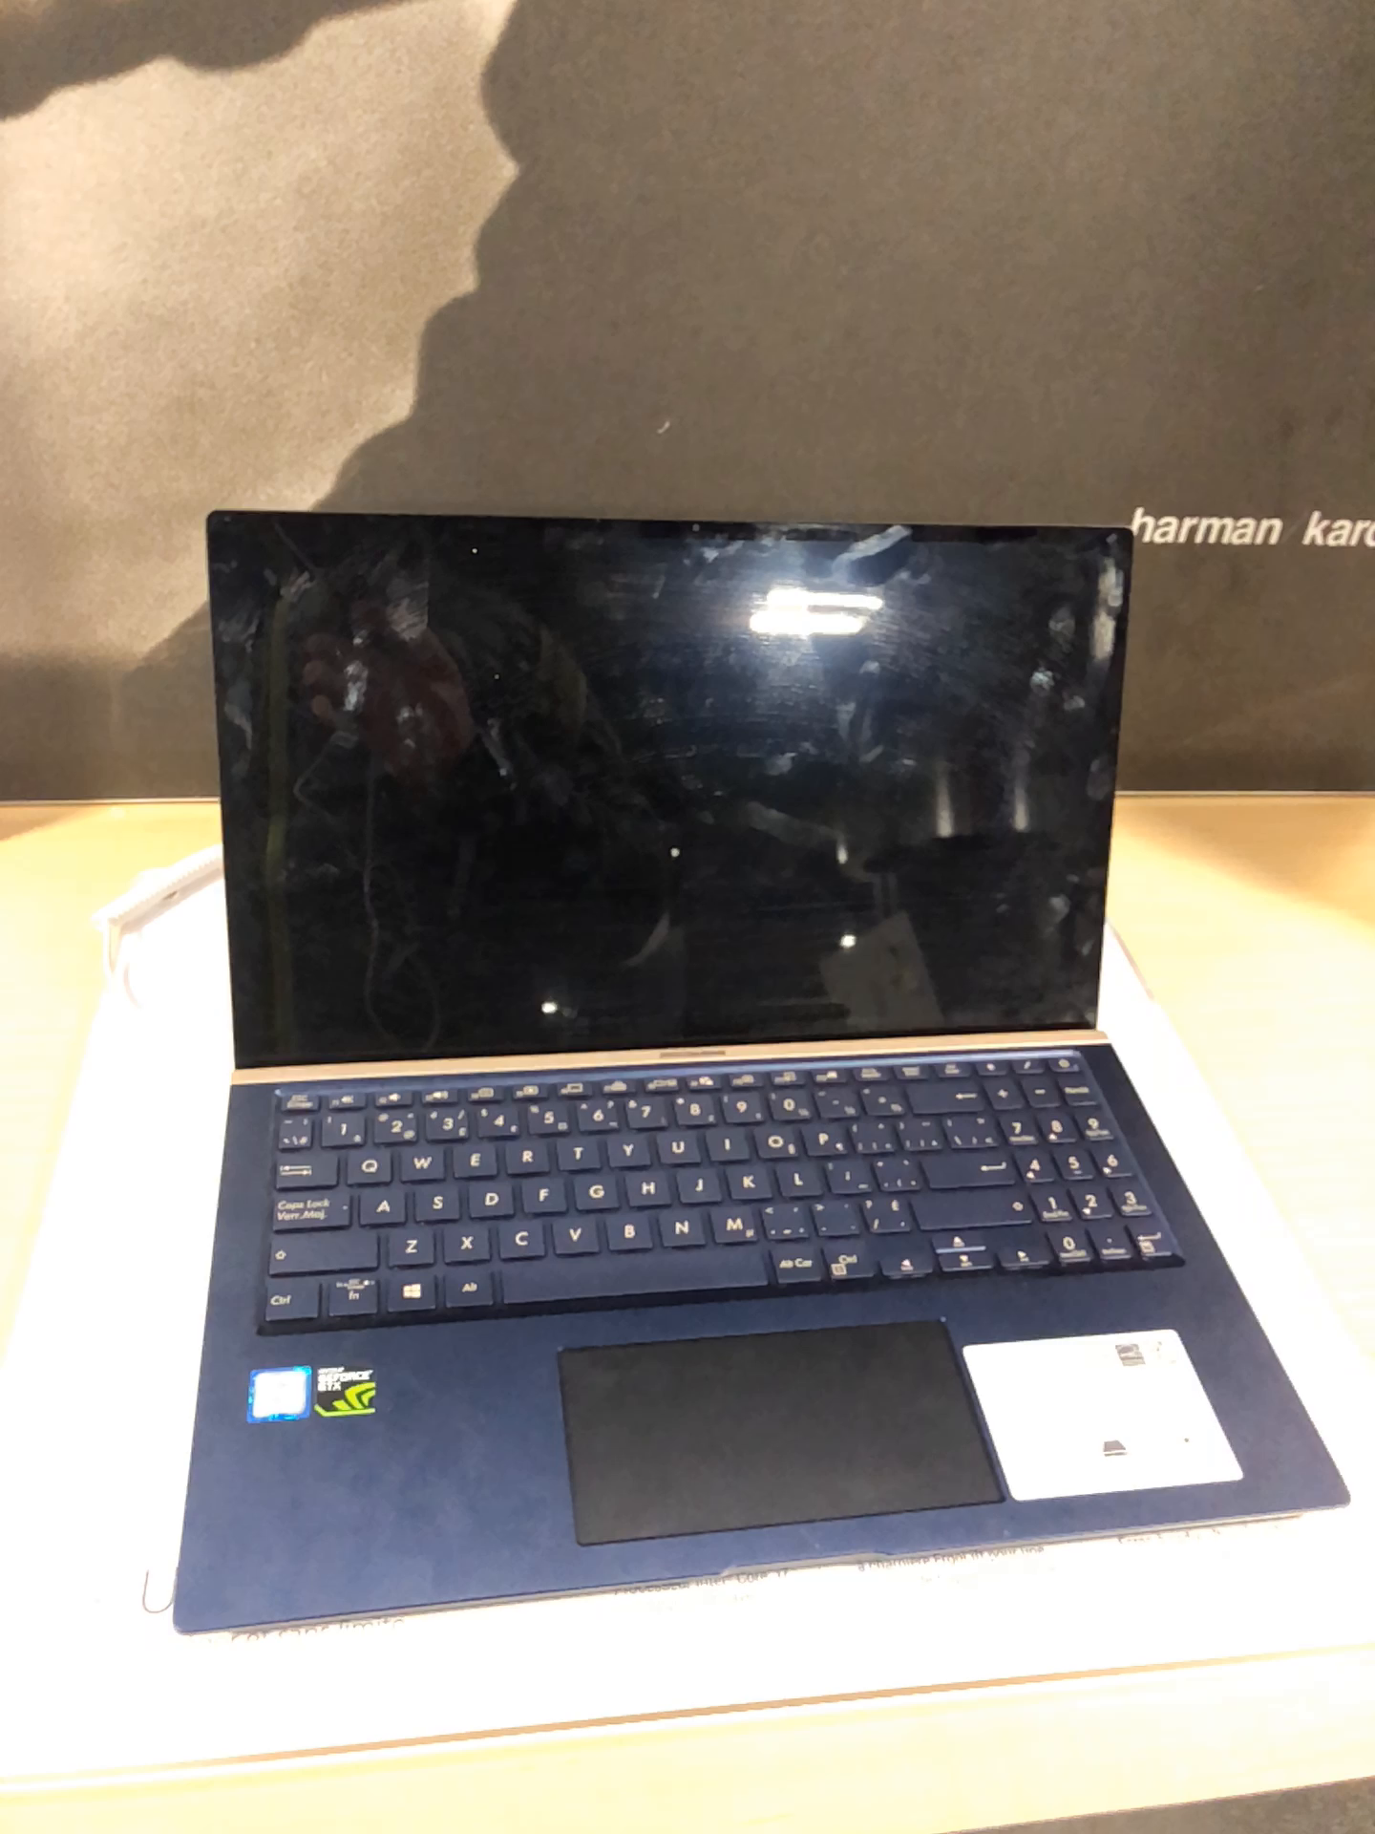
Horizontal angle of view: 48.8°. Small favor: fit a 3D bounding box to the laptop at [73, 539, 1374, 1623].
[{"bbox_3d":[0.019,0.020,0.484,0.331,0.173,0.294,-2,37,-9],"label":"laptop"}]
